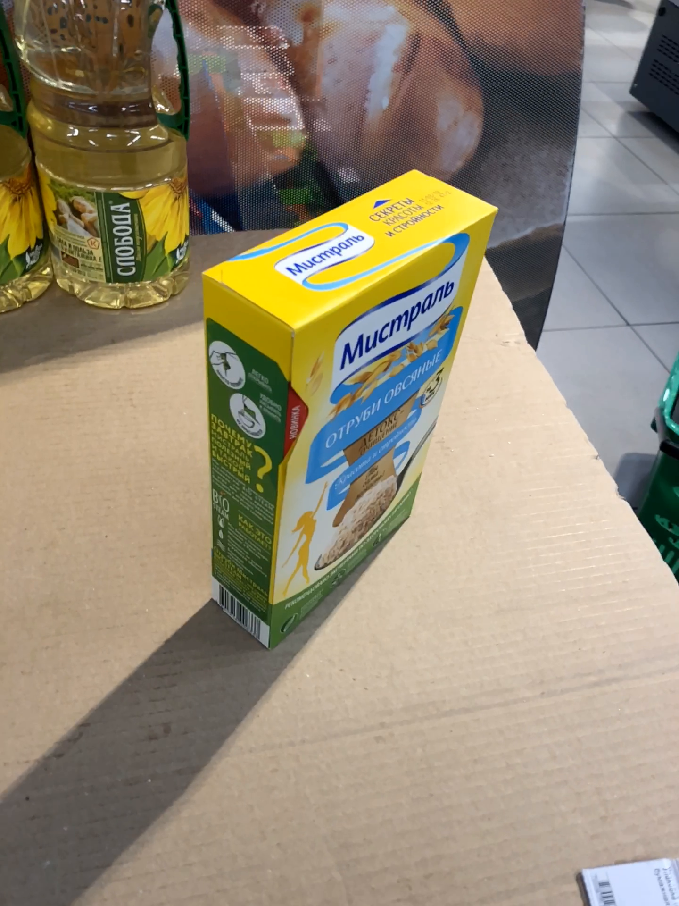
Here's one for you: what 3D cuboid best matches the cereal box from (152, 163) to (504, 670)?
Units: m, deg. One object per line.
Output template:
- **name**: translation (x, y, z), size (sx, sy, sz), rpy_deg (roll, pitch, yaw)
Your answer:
- **cereal box**: translation (-0.007, -0.010, 0.366), size (0.050, 0.209, 0.151), rpy_deg (35, 52, 23)
